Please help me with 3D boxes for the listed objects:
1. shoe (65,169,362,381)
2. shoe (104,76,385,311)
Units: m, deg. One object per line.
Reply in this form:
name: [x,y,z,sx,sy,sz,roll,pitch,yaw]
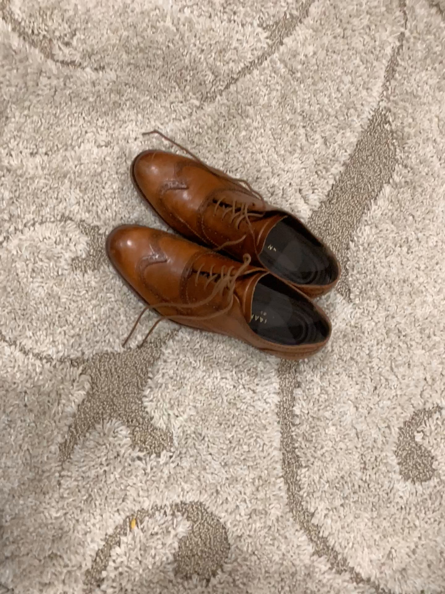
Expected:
shoe: [-0.012,-0.012,0.514,0.280,0.132,0.105,25,78,-3]
shoe: [0.019,-0.107,0.534,0.282,0.132,0.105,30,78,-2]
